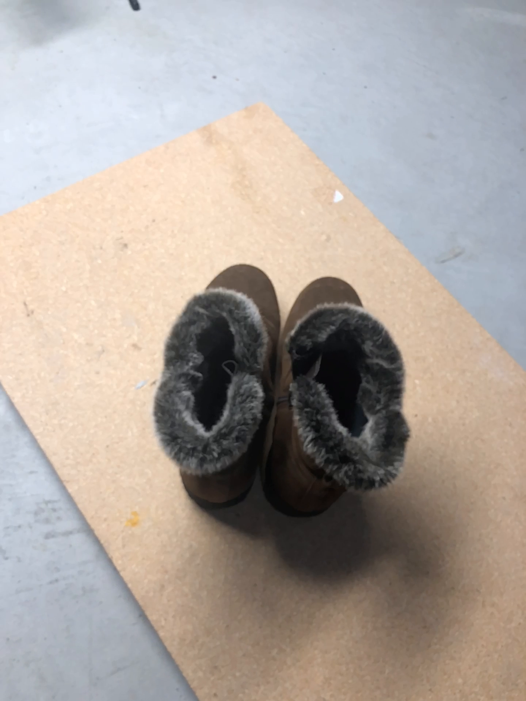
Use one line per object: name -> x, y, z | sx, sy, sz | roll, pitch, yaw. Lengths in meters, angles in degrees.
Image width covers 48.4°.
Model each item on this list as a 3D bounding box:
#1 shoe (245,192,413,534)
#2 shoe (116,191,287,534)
shoe -> 0.058, 0.024, 0.569 | 0.100, 0.220, 0.250 | 9, 62, -3
shoe -> -0.053, 0.020, 0.568 | 0.100, 0.200, 0.260 | 9, 62, -3
